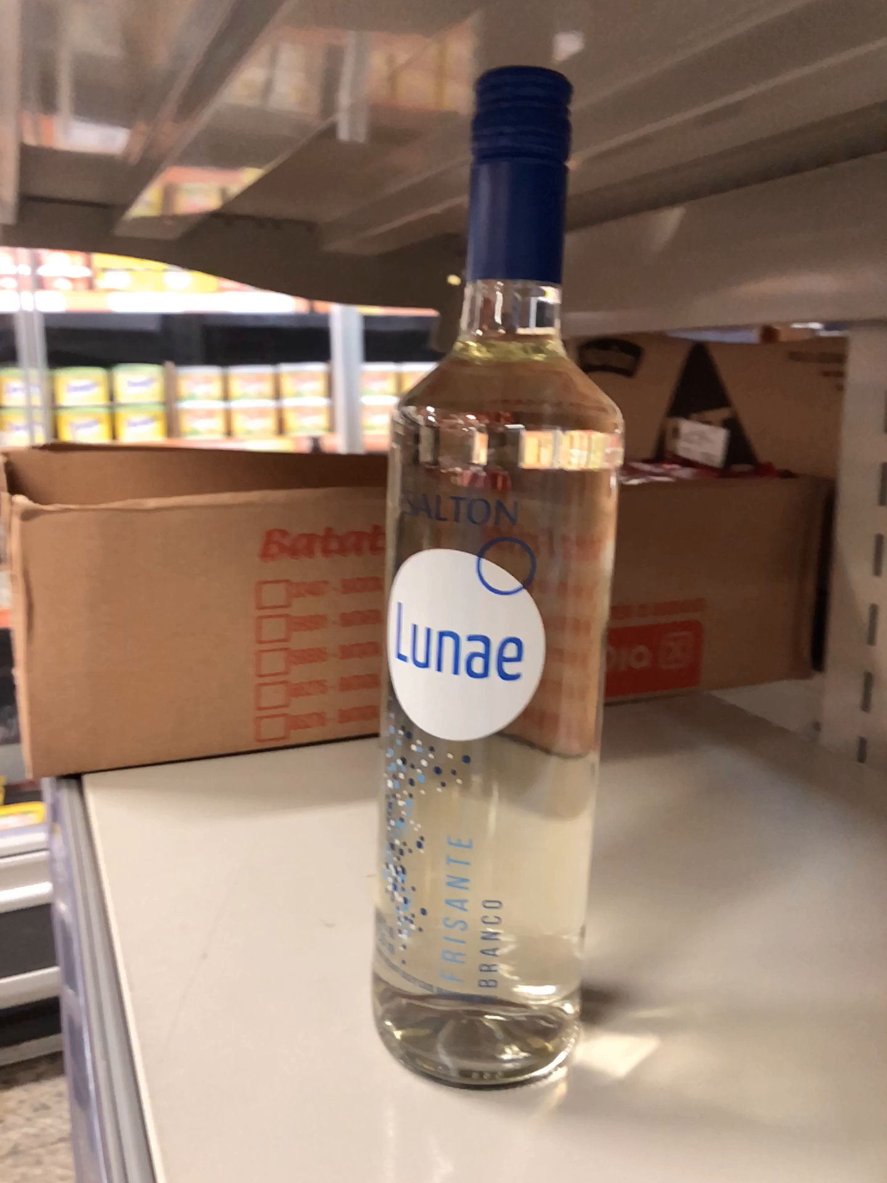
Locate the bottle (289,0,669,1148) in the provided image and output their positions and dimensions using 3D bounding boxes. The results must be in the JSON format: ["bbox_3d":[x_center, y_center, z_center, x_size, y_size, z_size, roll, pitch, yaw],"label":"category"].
[{"bbox_3d":[0.016,0.001,0.312,0.080,0.309,0.080,-1,12,0],"label":"bottle"}]
